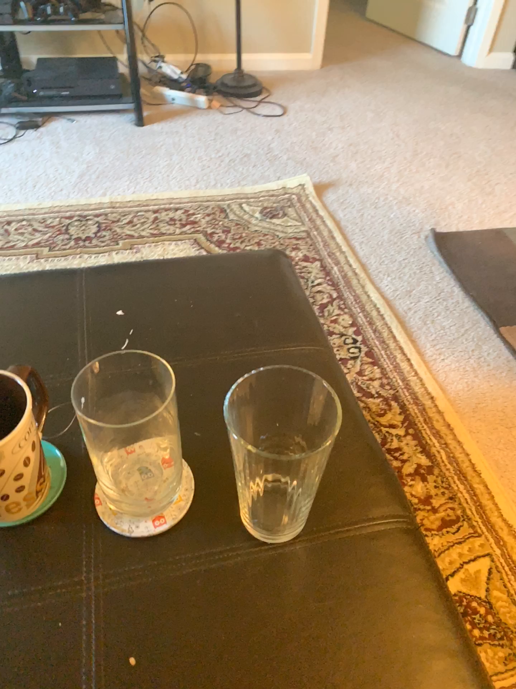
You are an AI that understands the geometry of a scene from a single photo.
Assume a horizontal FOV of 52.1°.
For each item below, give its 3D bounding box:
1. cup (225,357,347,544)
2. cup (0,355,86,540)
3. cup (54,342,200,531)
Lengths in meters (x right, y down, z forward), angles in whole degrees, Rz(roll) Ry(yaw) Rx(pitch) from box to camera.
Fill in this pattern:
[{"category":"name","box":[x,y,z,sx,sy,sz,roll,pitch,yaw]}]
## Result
[{"category":"cup","box":[0.014,0.088,0.421,0.080,0.139,0.080,2,45,-2]},{"category":"cup","box":[-0.207,0.082,0.419,0.090,0.099,0.090,2,45,-2]},{"category":"cup","box":[-0.093,0.075,0.414,0.080,0.129,0.080,2,45,-2]}]
